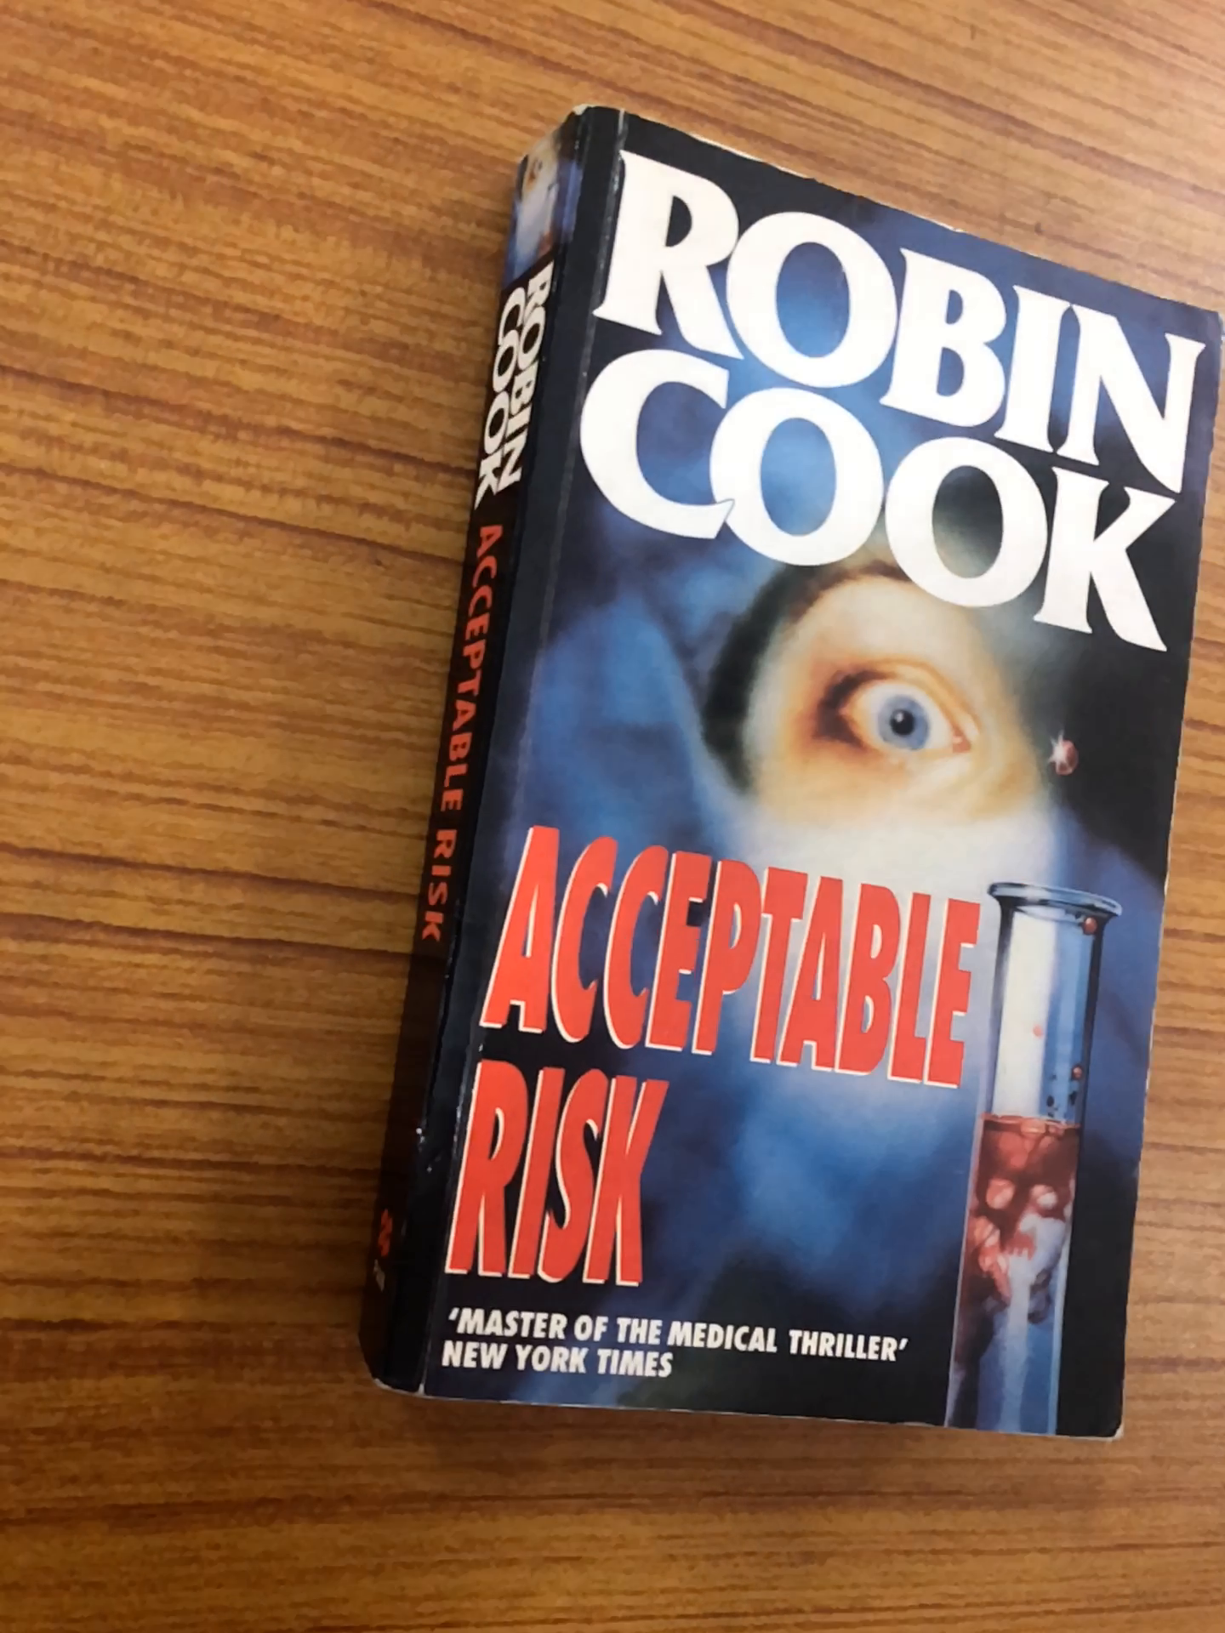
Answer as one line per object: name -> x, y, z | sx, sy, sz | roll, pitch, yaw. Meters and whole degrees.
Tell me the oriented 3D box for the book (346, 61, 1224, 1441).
book -> 0.033, -0.003, 0.206 | 0.110, 0.040, 0.170 | 11, 85, -19
